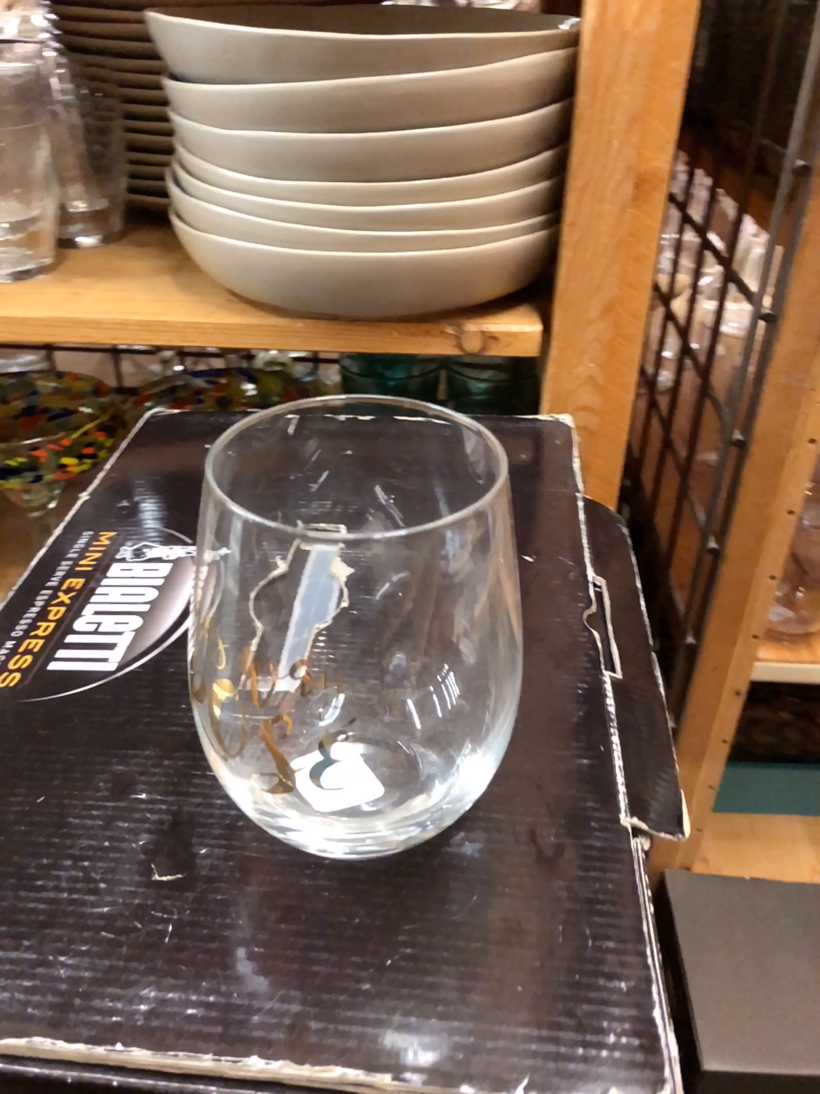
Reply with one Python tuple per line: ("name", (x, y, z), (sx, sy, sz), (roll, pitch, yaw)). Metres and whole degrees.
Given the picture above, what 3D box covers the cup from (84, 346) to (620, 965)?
("cup", (-0.011, 0.022, 0.250), (0.096, 0.114, 0.091), (1, 33, 0))
